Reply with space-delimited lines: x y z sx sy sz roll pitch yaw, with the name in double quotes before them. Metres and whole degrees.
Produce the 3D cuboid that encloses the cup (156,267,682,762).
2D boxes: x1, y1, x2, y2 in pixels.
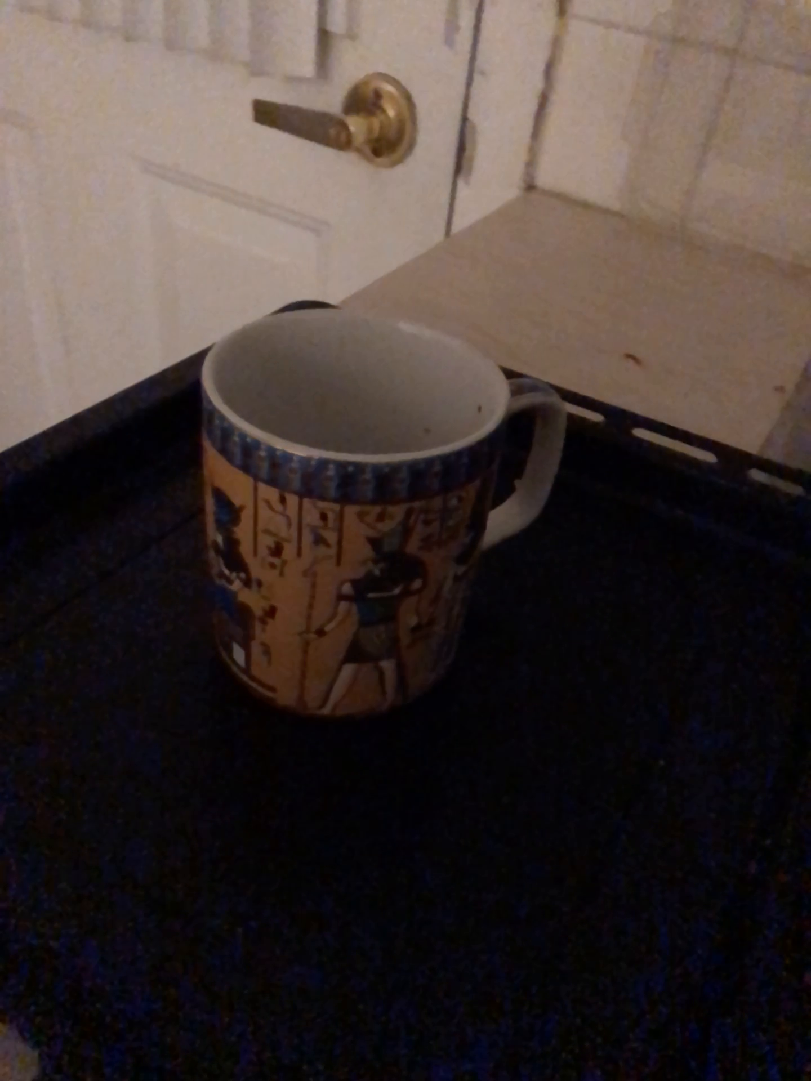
"cup" 0.001 -0.015 0.272 0.120 0.089 0.080 -21 47 -31
